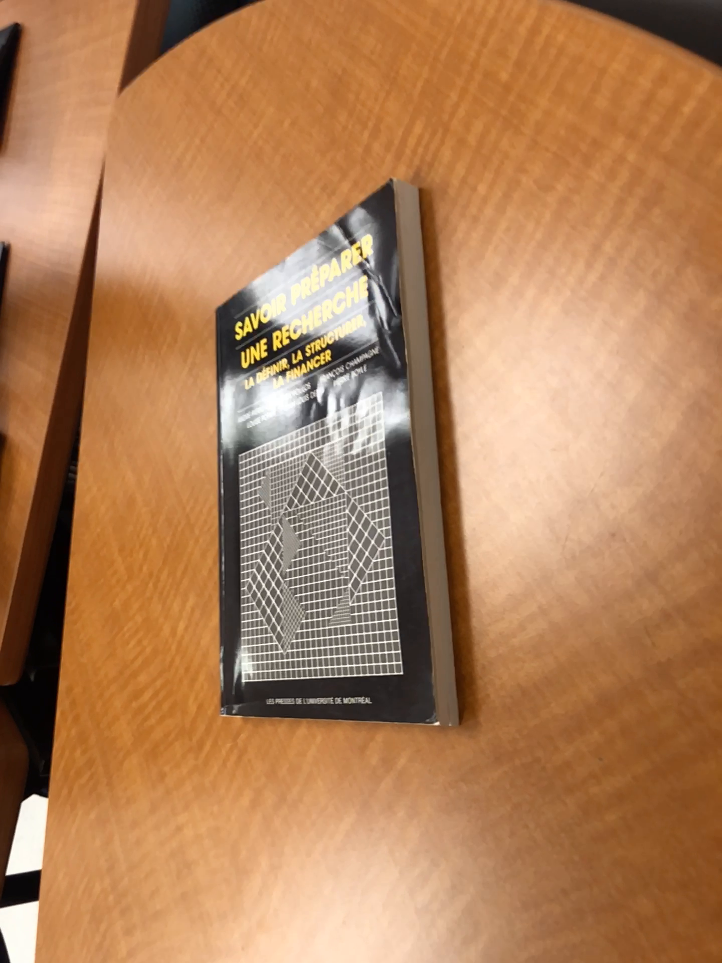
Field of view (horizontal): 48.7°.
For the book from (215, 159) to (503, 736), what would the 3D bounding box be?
[{"bbox_3d":[-0.015,-0.005,0.387,0.161,0.030,0.240,-19,69,47],"label":"book"}]
